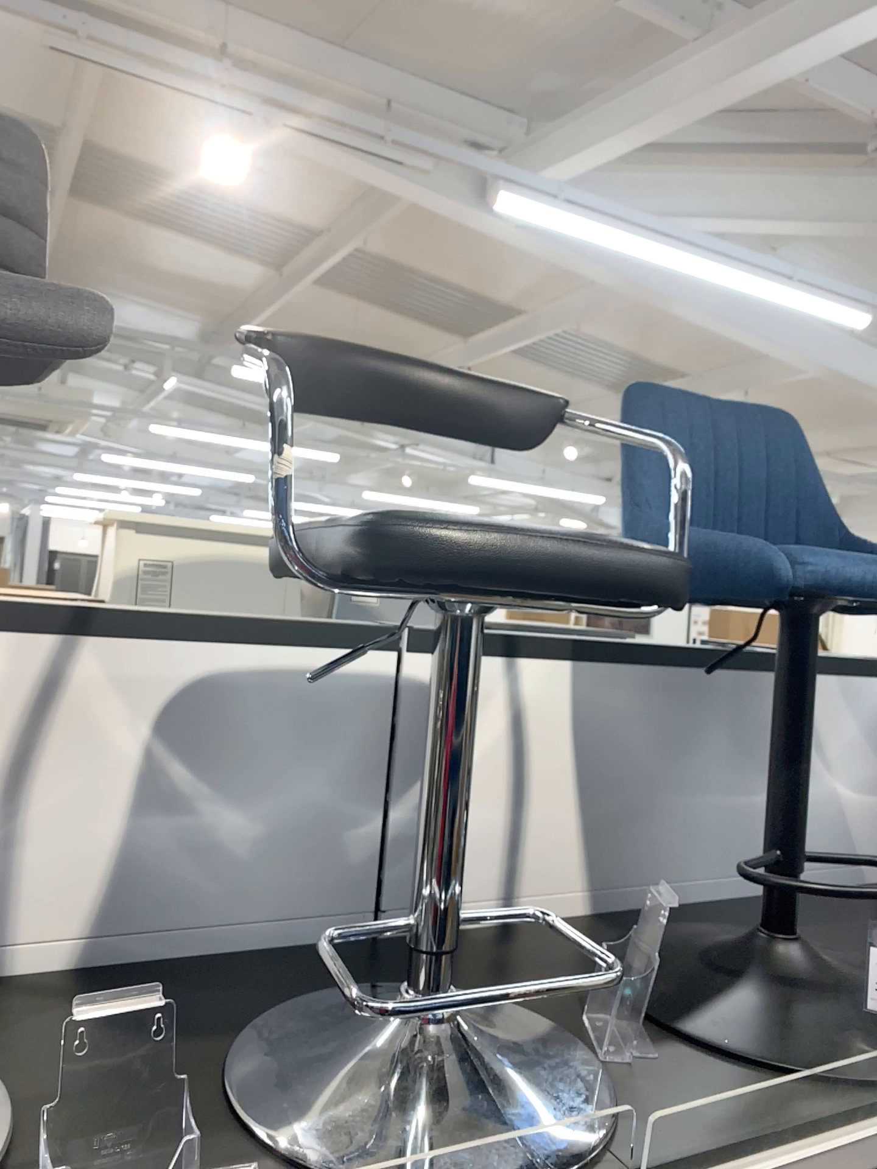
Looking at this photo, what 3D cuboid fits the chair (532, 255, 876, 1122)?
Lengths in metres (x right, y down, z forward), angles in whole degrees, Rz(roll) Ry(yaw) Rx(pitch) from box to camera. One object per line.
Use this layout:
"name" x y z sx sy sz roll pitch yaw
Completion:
"chair" 0.545 0.120 1.351 0.521 0.954 0.536 6 -2 -27

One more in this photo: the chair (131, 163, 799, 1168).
"chair" 0.012 0.109 1.021 0.511 0.854 0.466 6 -2 -31

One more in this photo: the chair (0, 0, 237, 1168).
"chair" -0.551 -0.040 0.791 0.511 1.064 0.466 6 -2 -31
